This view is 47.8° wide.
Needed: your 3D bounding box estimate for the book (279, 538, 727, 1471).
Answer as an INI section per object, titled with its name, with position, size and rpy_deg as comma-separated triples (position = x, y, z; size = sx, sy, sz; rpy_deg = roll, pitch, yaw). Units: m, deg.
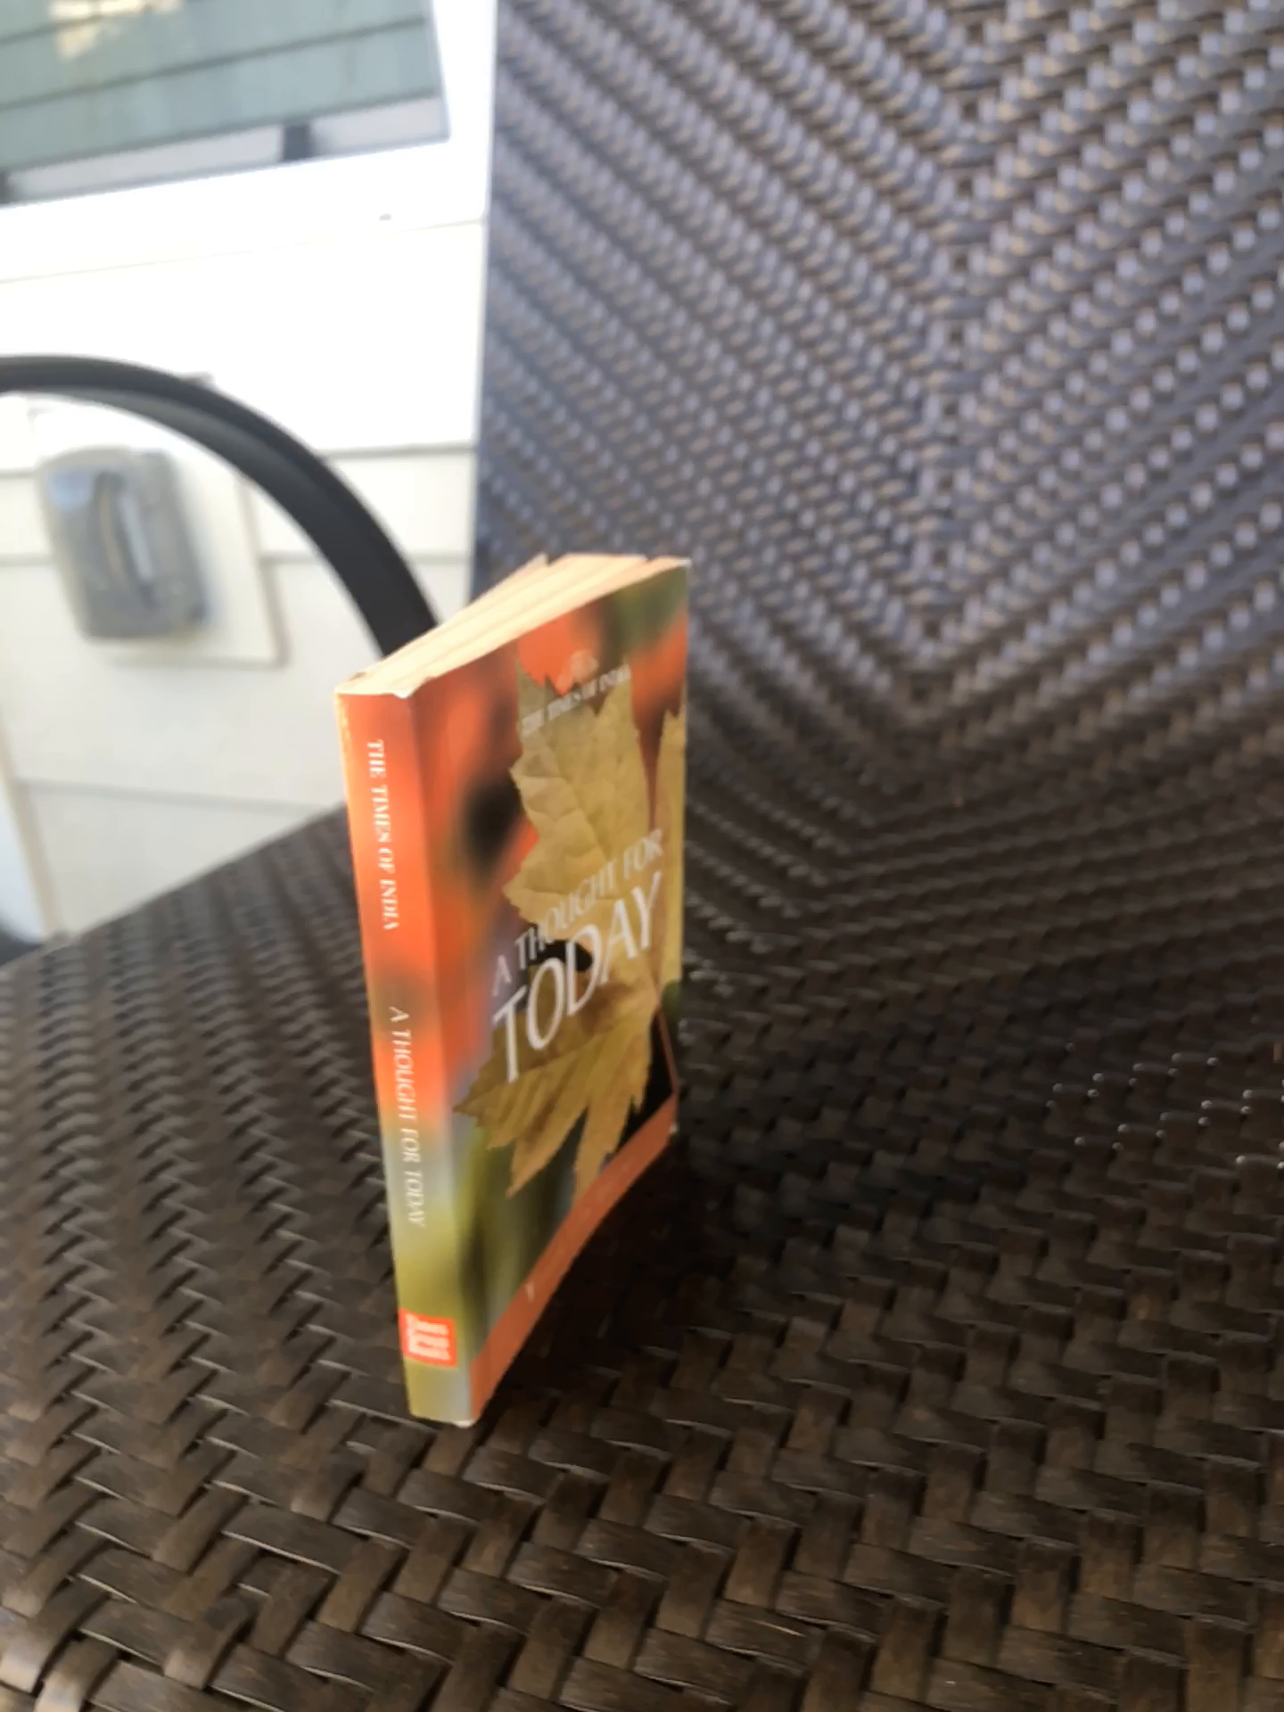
[book]
position = -0.015, 0.019, 0.261
size = 0.031, 0.128, 0.106
rpy_deg = 4, 25, 17
